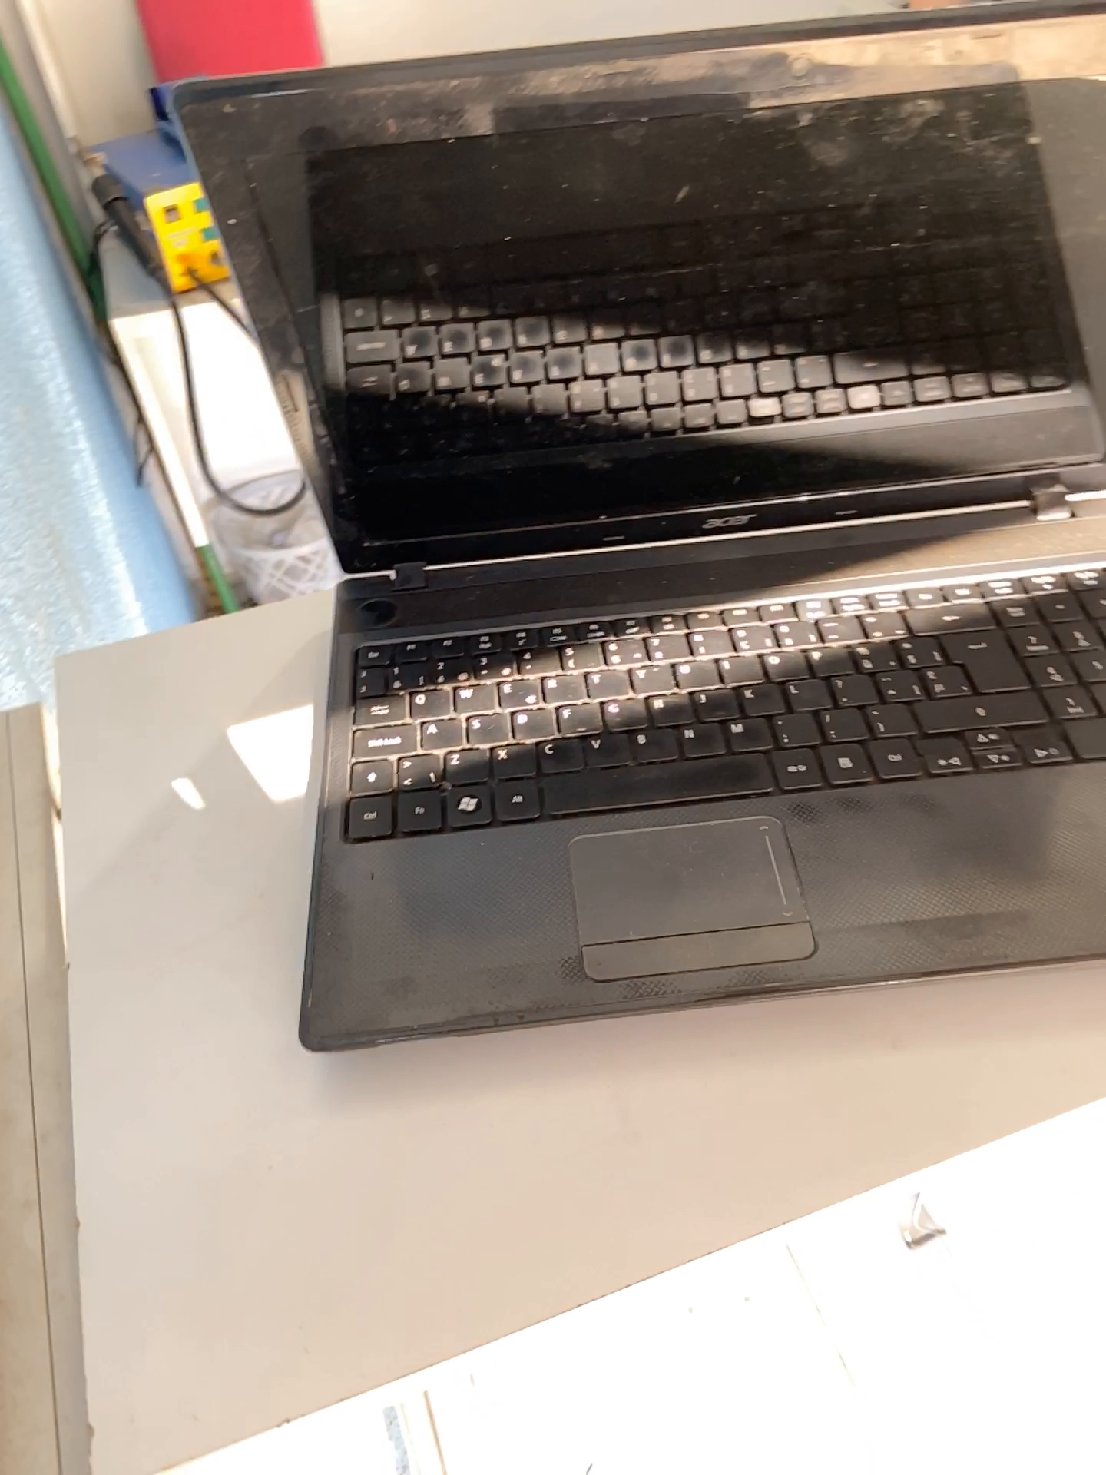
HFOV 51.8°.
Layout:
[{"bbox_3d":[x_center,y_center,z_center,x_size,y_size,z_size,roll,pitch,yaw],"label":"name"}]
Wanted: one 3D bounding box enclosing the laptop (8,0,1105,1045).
[{"bbox_3d":[0.084,-0.089,0.386,0.374,0.234,0.255,-6,45,0],"label":"laptop"}]
